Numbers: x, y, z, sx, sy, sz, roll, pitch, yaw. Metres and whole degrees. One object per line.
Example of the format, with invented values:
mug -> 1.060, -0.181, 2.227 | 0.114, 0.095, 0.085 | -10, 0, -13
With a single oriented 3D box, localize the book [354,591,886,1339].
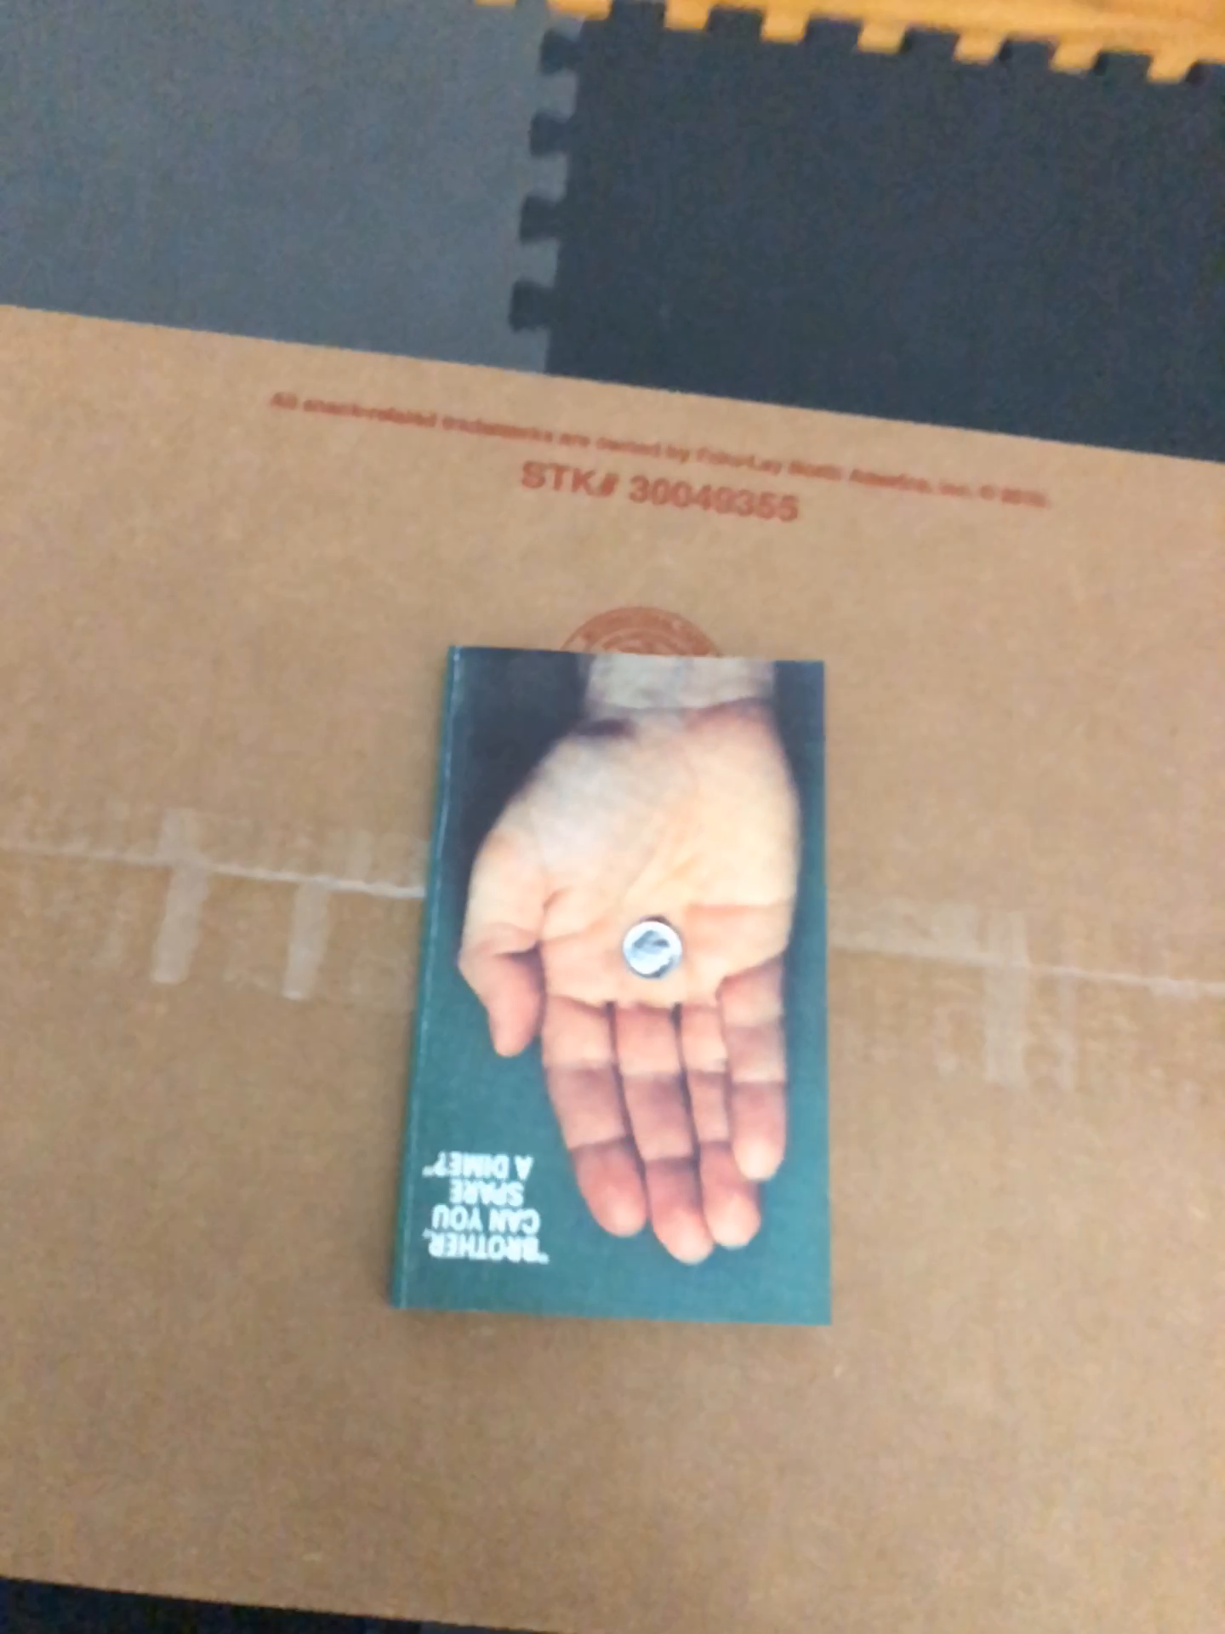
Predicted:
book -> 0.005, 0.033, 0.345 | 0.120, 0.020, 0.180 | 3, 72, -3
